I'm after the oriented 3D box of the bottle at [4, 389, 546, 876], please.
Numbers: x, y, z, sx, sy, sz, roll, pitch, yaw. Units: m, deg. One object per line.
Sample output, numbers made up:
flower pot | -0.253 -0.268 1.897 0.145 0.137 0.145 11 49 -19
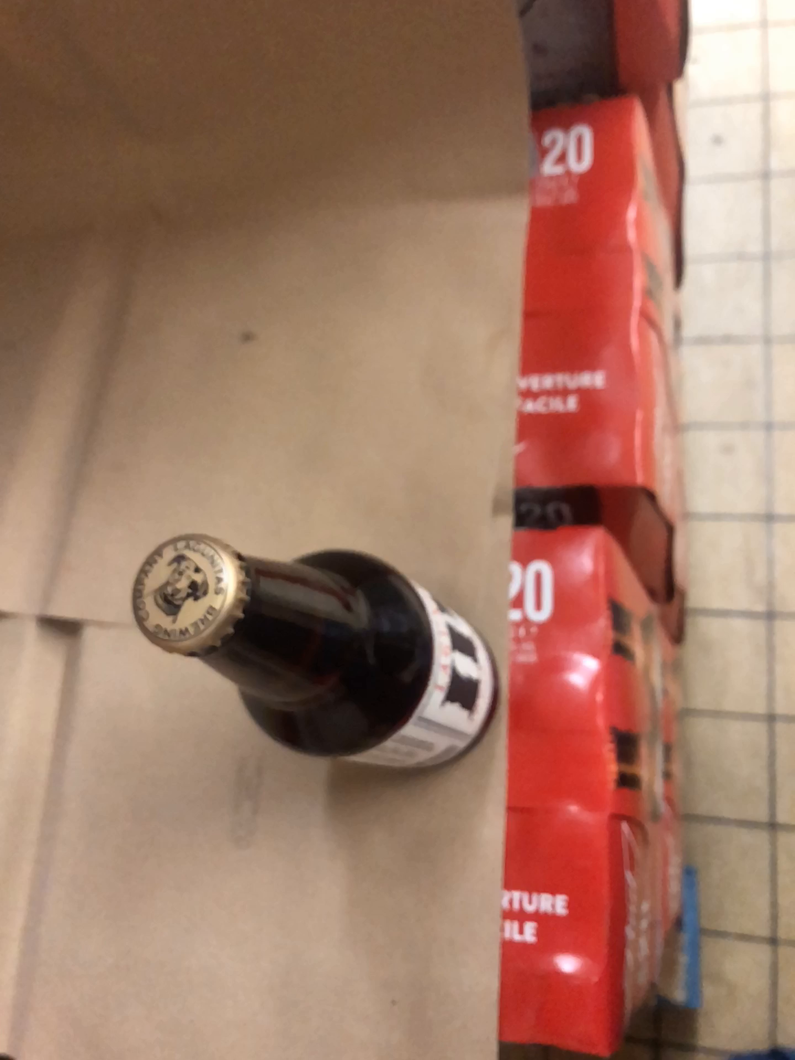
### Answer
bottle | -0.017 0.048 0.288 0.080 0.200 0.080 -5 72 14
